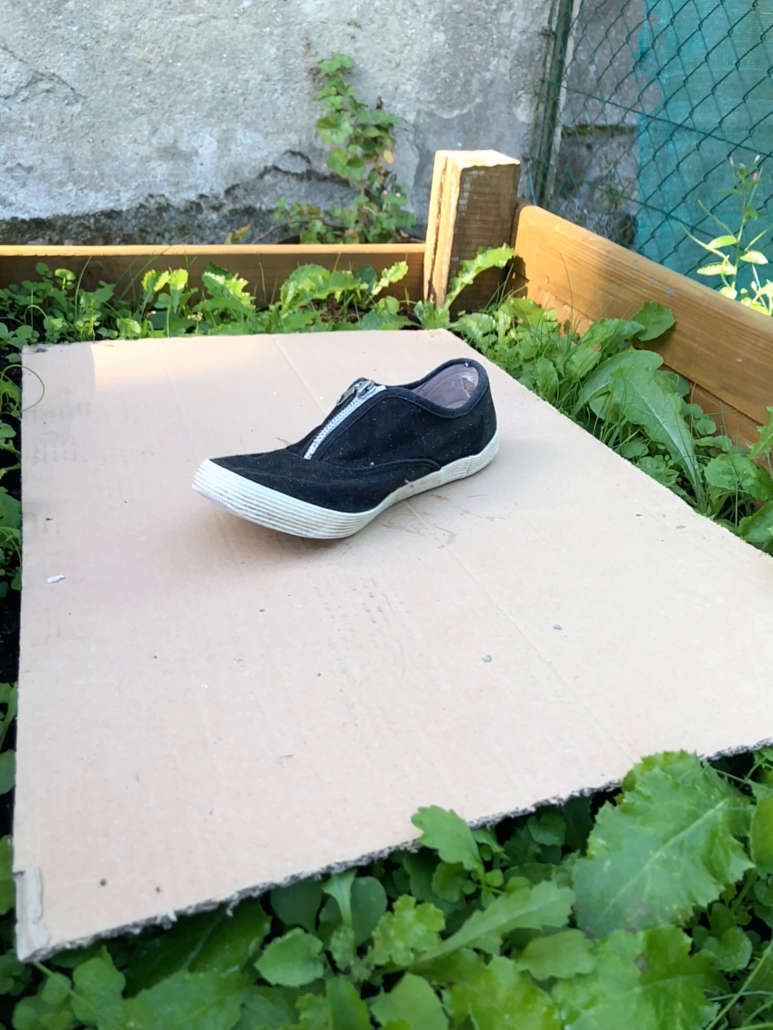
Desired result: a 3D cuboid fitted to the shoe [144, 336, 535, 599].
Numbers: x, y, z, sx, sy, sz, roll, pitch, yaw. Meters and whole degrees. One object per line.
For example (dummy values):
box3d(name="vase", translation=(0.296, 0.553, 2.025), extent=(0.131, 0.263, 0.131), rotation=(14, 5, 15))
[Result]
box3d(name="shoe", translation=(-0.020, -0.044, 0.553), extent=(0.241, 0.070, 0.100), rotation=(-25, 41, -38))
